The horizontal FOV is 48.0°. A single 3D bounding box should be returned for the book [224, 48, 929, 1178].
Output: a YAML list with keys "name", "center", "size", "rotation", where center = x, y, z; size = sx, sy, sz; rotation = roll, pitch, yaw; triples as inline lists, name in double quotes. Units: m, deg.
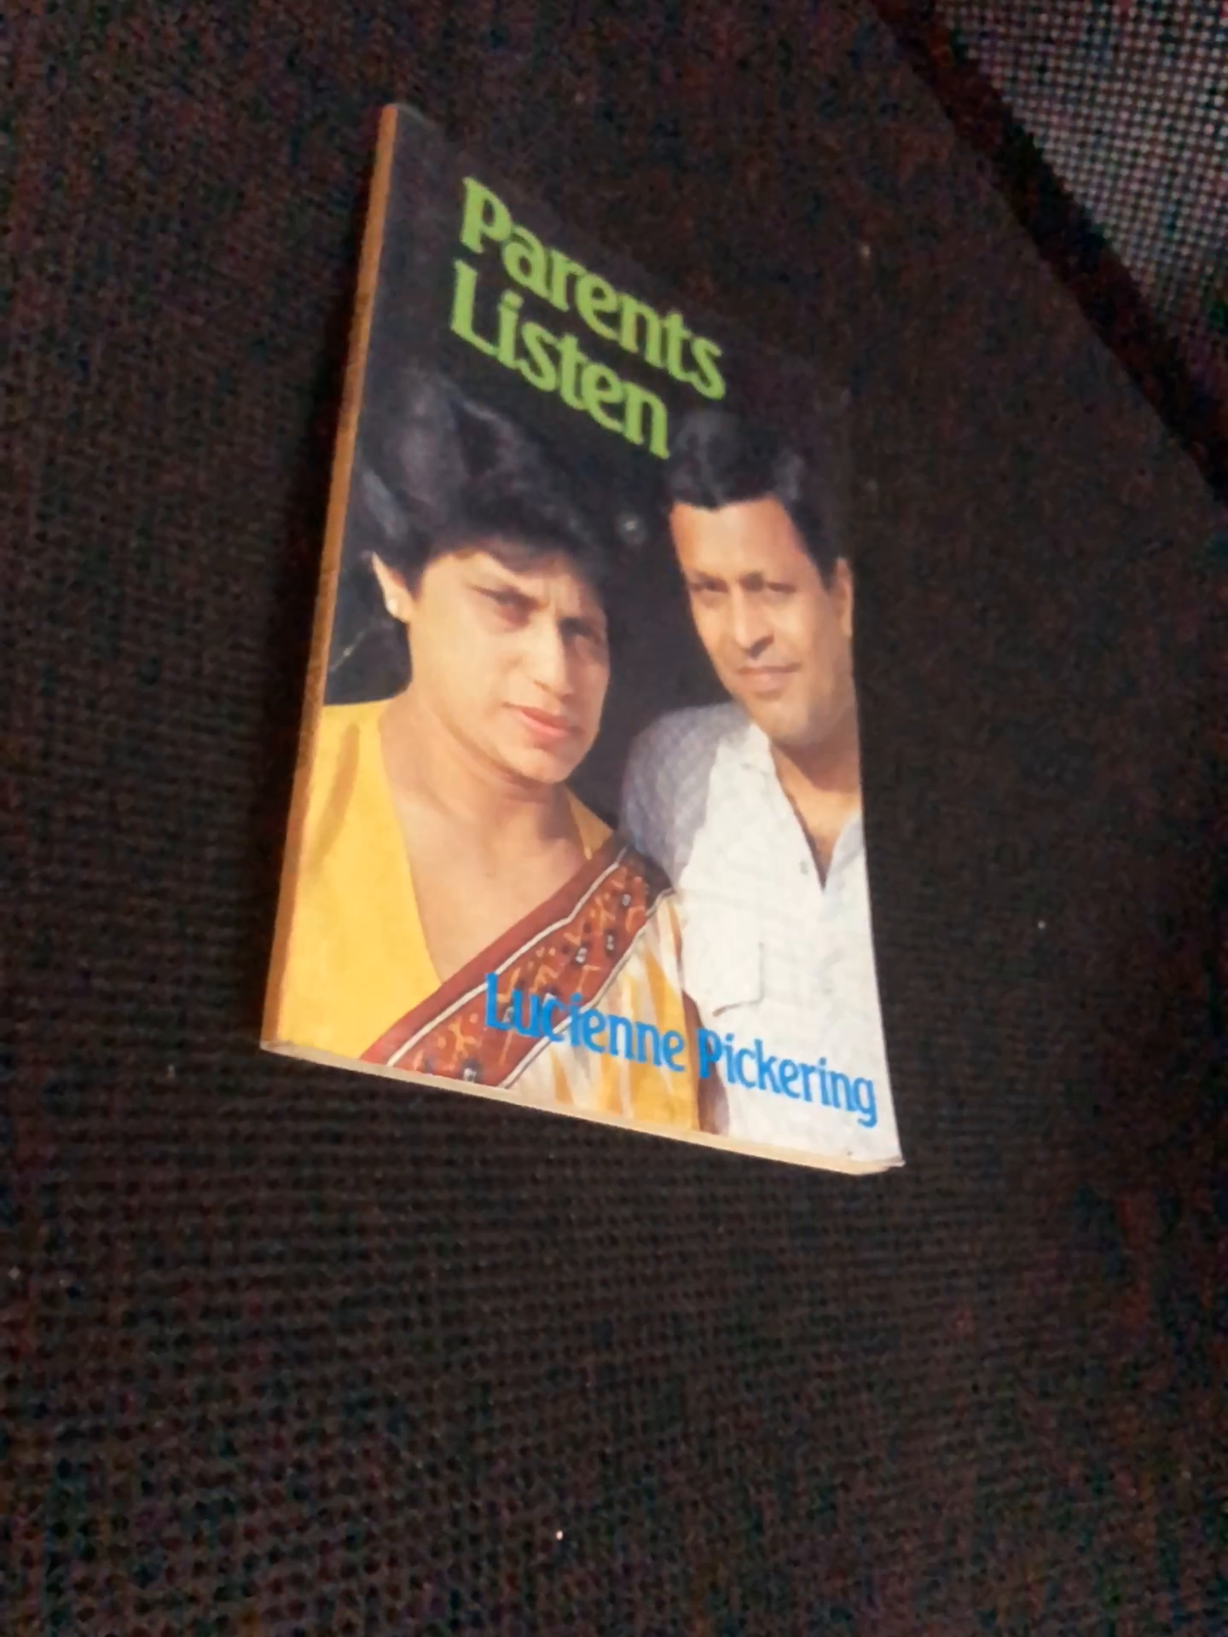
- name: "book"
  center: [0.003, -0.039, 0.256]
  size: [0.130, 0.010, 0.191]
  rotation: [20, 58, -34]
